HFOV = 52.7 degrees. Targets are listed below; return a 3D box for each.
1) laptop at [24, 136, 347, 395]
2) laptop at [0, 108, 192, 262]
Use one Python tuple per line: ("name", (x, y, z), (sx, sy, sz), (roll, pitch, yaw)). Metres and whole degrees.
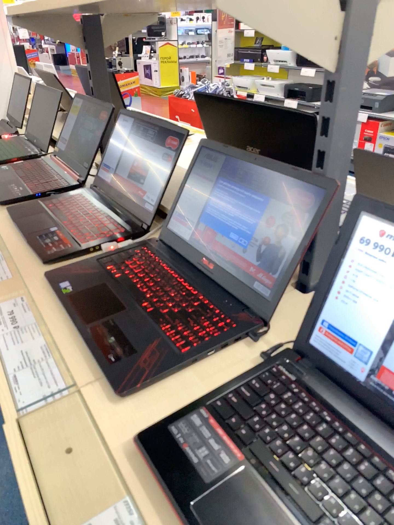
("laptop", (-0.038, -0.051, 0.678), (0.382, 0.199, 0.367), (-20, 34, -26))
("laptop", (-0.259, -0.217, 0.963), (0.352, 0.209, 0.340), (-20, 35, -27))
